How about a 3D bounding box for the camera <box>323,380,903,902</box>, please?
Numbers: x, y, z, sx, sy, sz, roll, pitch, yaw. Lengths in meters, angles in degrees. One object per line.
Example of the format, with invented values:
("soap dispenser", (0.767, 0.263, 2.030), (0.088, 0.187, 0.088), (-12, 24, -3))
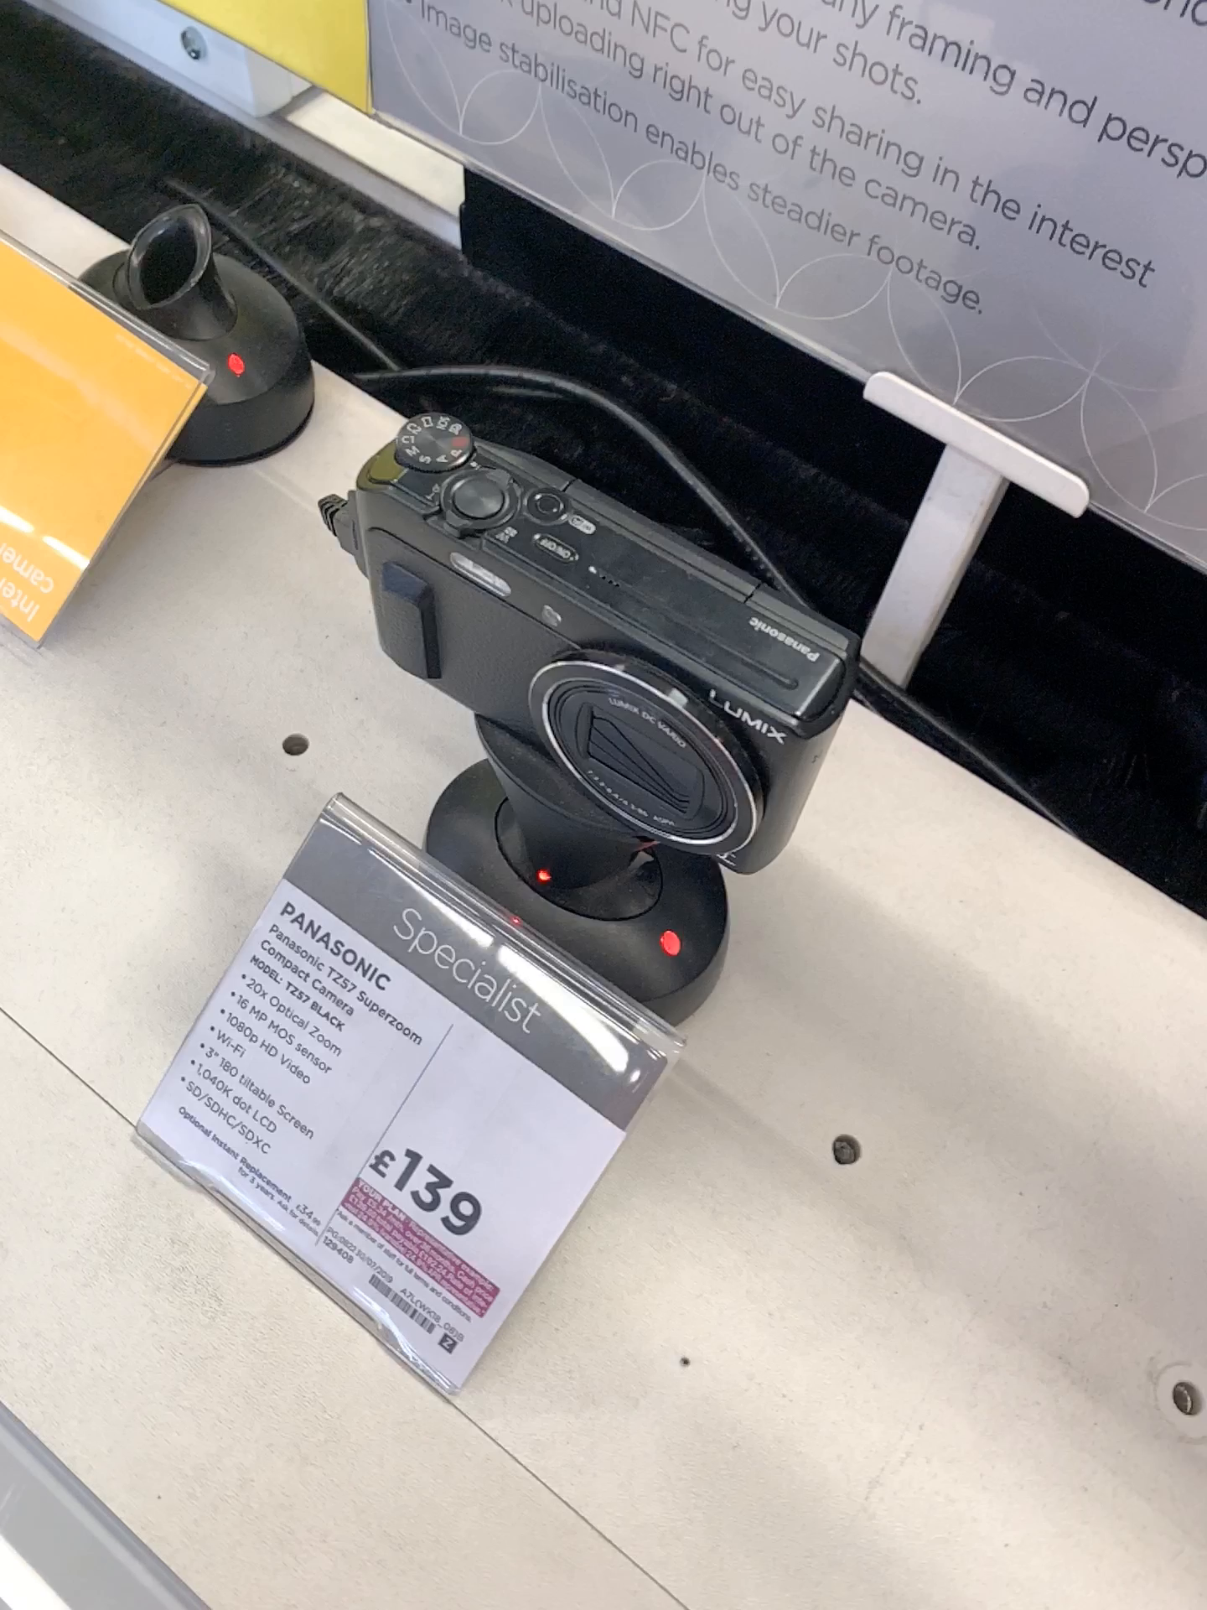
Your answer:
("camera", (-0.002, -0.033, 0.259), (0.111, 0.060, 0.030), (32, 63, 13))
